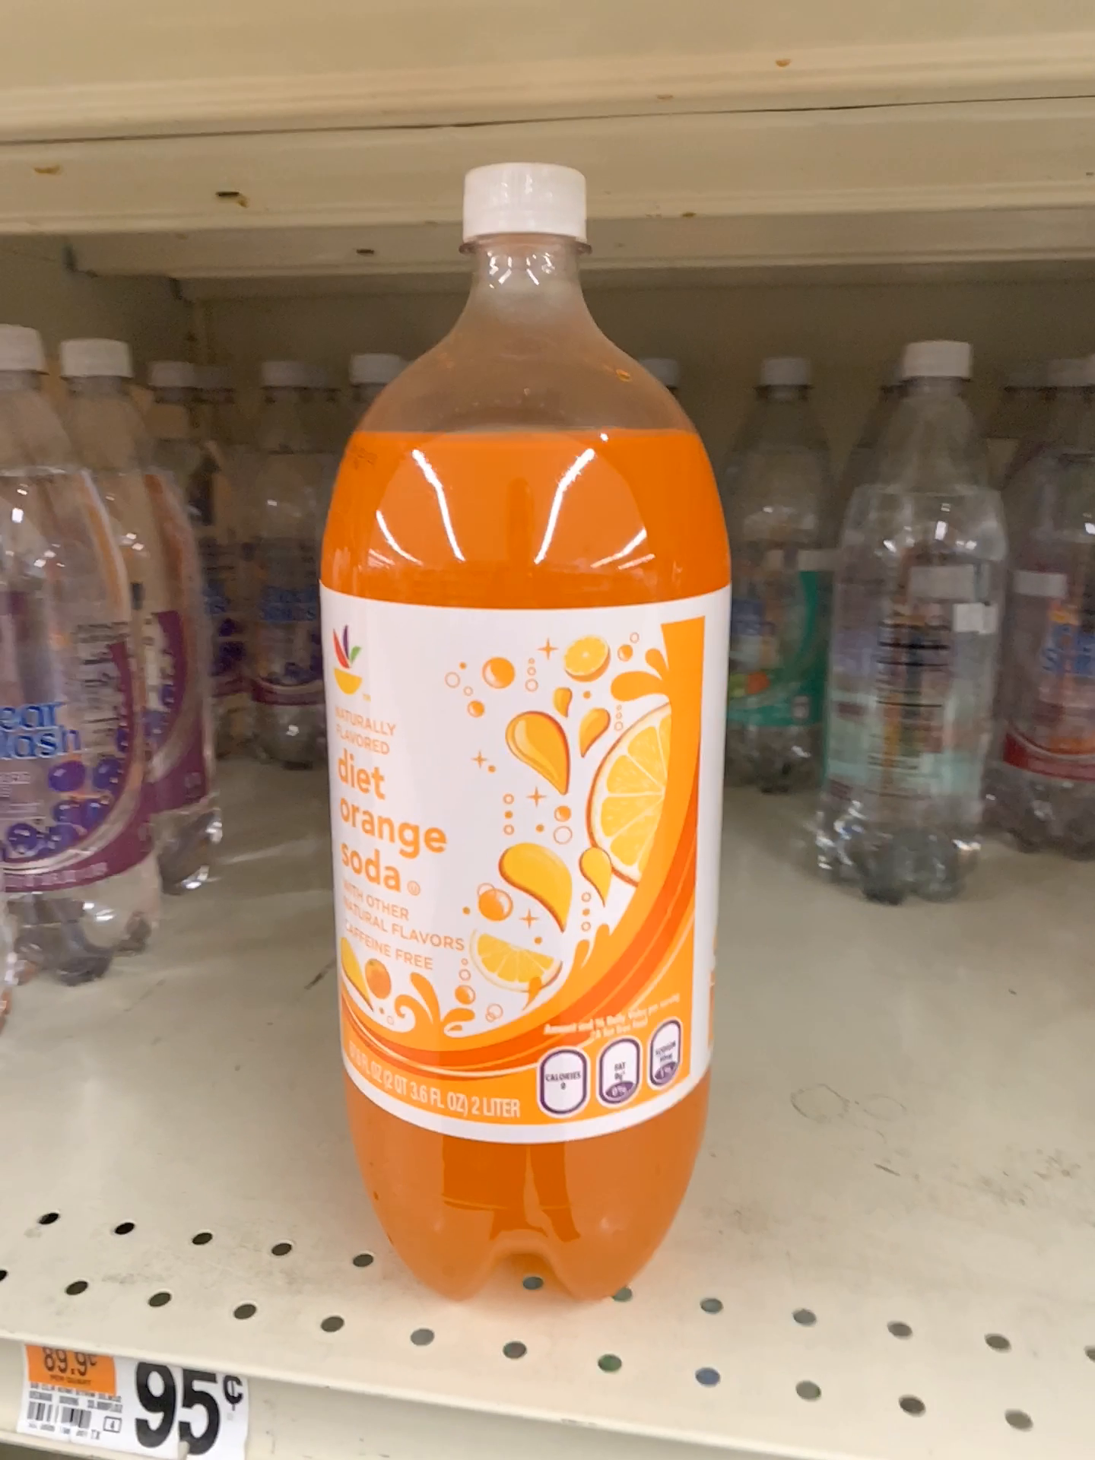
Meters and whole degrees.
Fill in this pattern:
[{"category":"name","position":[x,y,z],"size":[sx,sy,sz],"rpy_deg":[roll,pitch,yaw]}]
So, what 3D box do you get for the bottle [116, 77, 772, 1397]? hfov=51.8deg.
[{"category":"bottle","position":[-0.014,0.004,0.305],"size":[0.120,0.289,0.110],"rpy_deg":[0,16,0]}]
